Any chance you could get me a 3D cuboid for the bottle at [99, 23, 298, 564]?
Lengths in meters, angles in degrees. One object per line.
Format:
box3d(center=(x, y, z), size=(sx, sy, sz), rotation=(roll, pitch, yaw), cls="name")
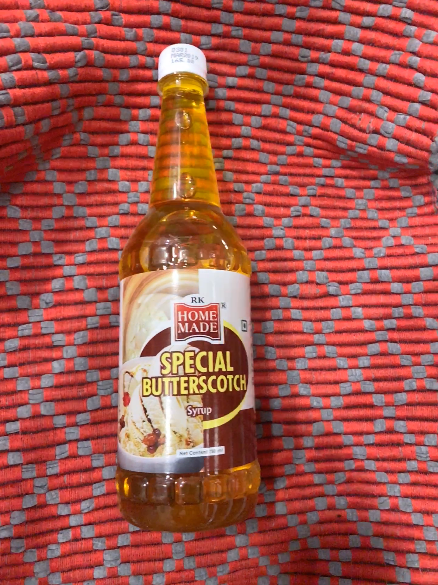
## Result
box3d(center=(-0.015, -0.012, 0.244), size=(0.080, 0.060, 0.260), rotation=(-1, 75, -6), cls="bottle")
